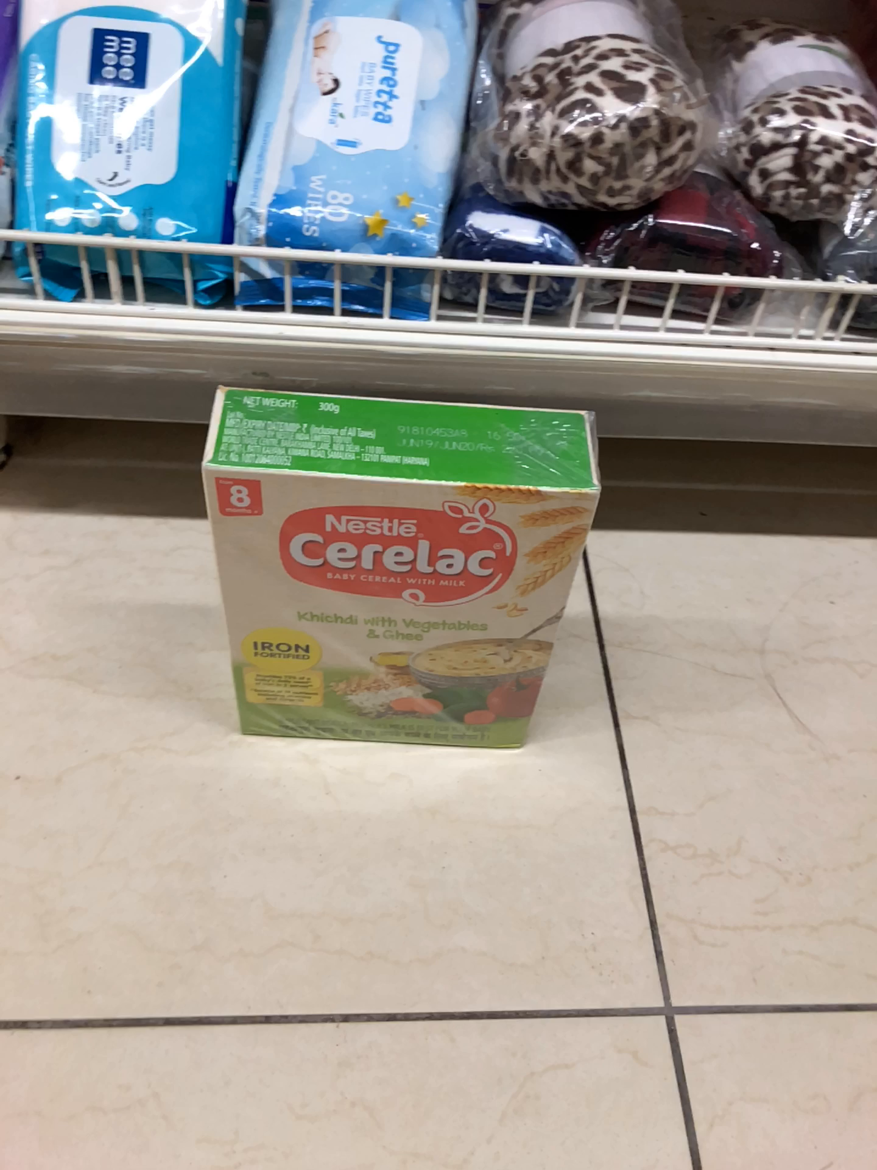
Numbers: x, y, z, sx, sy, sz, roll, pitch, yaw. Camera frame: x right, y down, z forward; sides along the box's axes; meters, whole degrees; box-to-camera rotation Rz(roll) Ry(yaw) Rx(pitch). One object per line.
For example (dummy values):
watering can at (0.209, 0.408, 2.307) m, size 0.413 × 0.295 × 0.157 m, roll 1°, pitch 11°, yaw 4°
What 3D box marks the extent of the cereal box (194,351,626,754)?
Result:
cereal box at (-0.017, -0.002, 0.453) m, size 0.160 × 0.199 × 0.060 m, roll 3°, pitch 49°, yaw -4°
